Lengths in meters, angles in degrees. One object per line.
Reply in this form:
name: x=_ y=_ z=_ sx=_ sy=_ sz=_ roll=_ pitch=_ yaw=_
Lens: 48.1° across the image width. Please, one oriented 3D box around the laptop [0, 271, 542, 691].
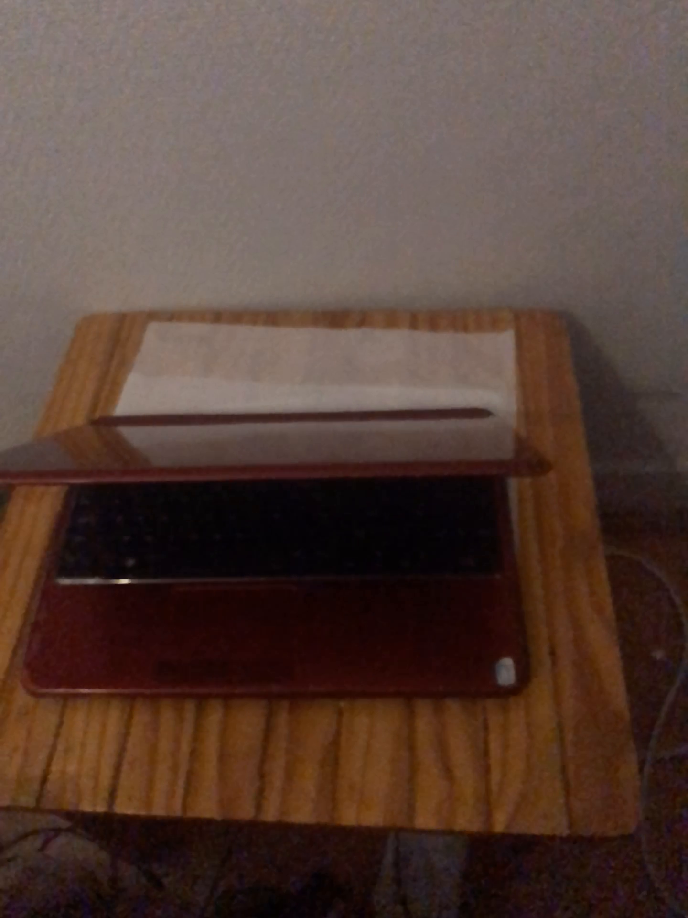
laptop: x=-0.067 y=0.013 z=0.579 sx=0.372 sy=0.168 sz=0.254 roll=-1 pitch=53 yaw=0
